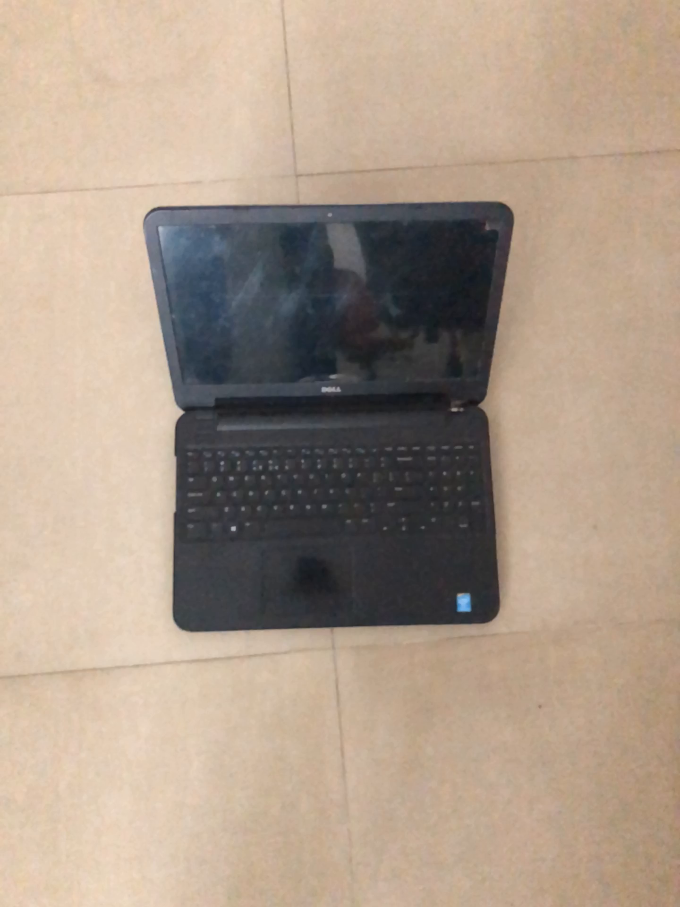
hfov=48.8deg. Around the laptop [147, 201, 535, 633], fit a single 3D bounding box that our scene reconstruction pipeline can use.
[{"bbox_3d":[-0.006,-0.028,0.788,0.343,0.179,0.405,-2,79,-1],"label":"laptop"}]
